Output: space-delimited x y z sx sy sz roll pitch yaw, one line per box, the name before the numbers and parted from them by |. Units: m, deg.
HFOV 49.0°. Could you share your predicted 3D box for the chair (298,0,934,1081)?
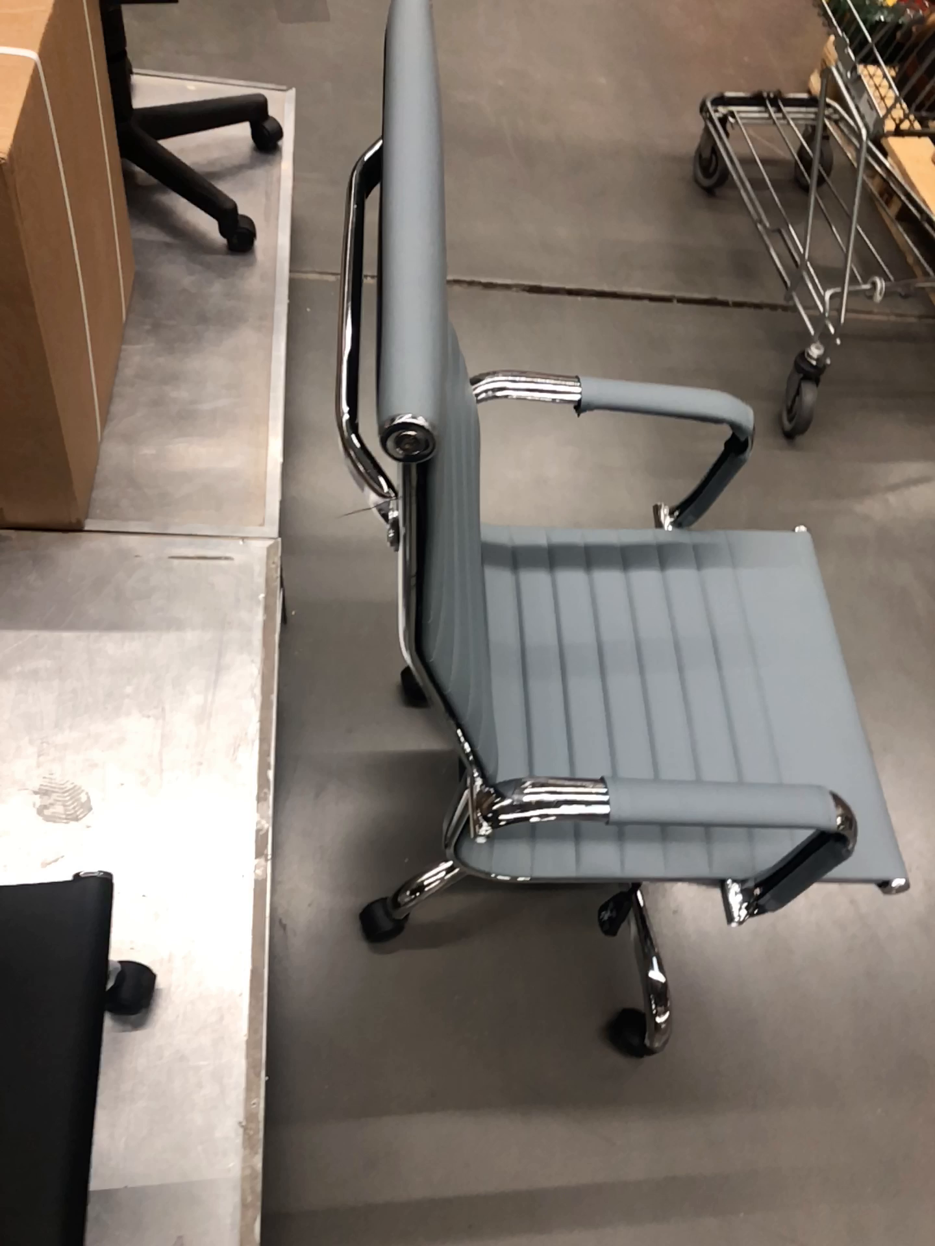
chair | 0.216 0.026 1.175 0.750 1.213 0.714 3 56 -8
